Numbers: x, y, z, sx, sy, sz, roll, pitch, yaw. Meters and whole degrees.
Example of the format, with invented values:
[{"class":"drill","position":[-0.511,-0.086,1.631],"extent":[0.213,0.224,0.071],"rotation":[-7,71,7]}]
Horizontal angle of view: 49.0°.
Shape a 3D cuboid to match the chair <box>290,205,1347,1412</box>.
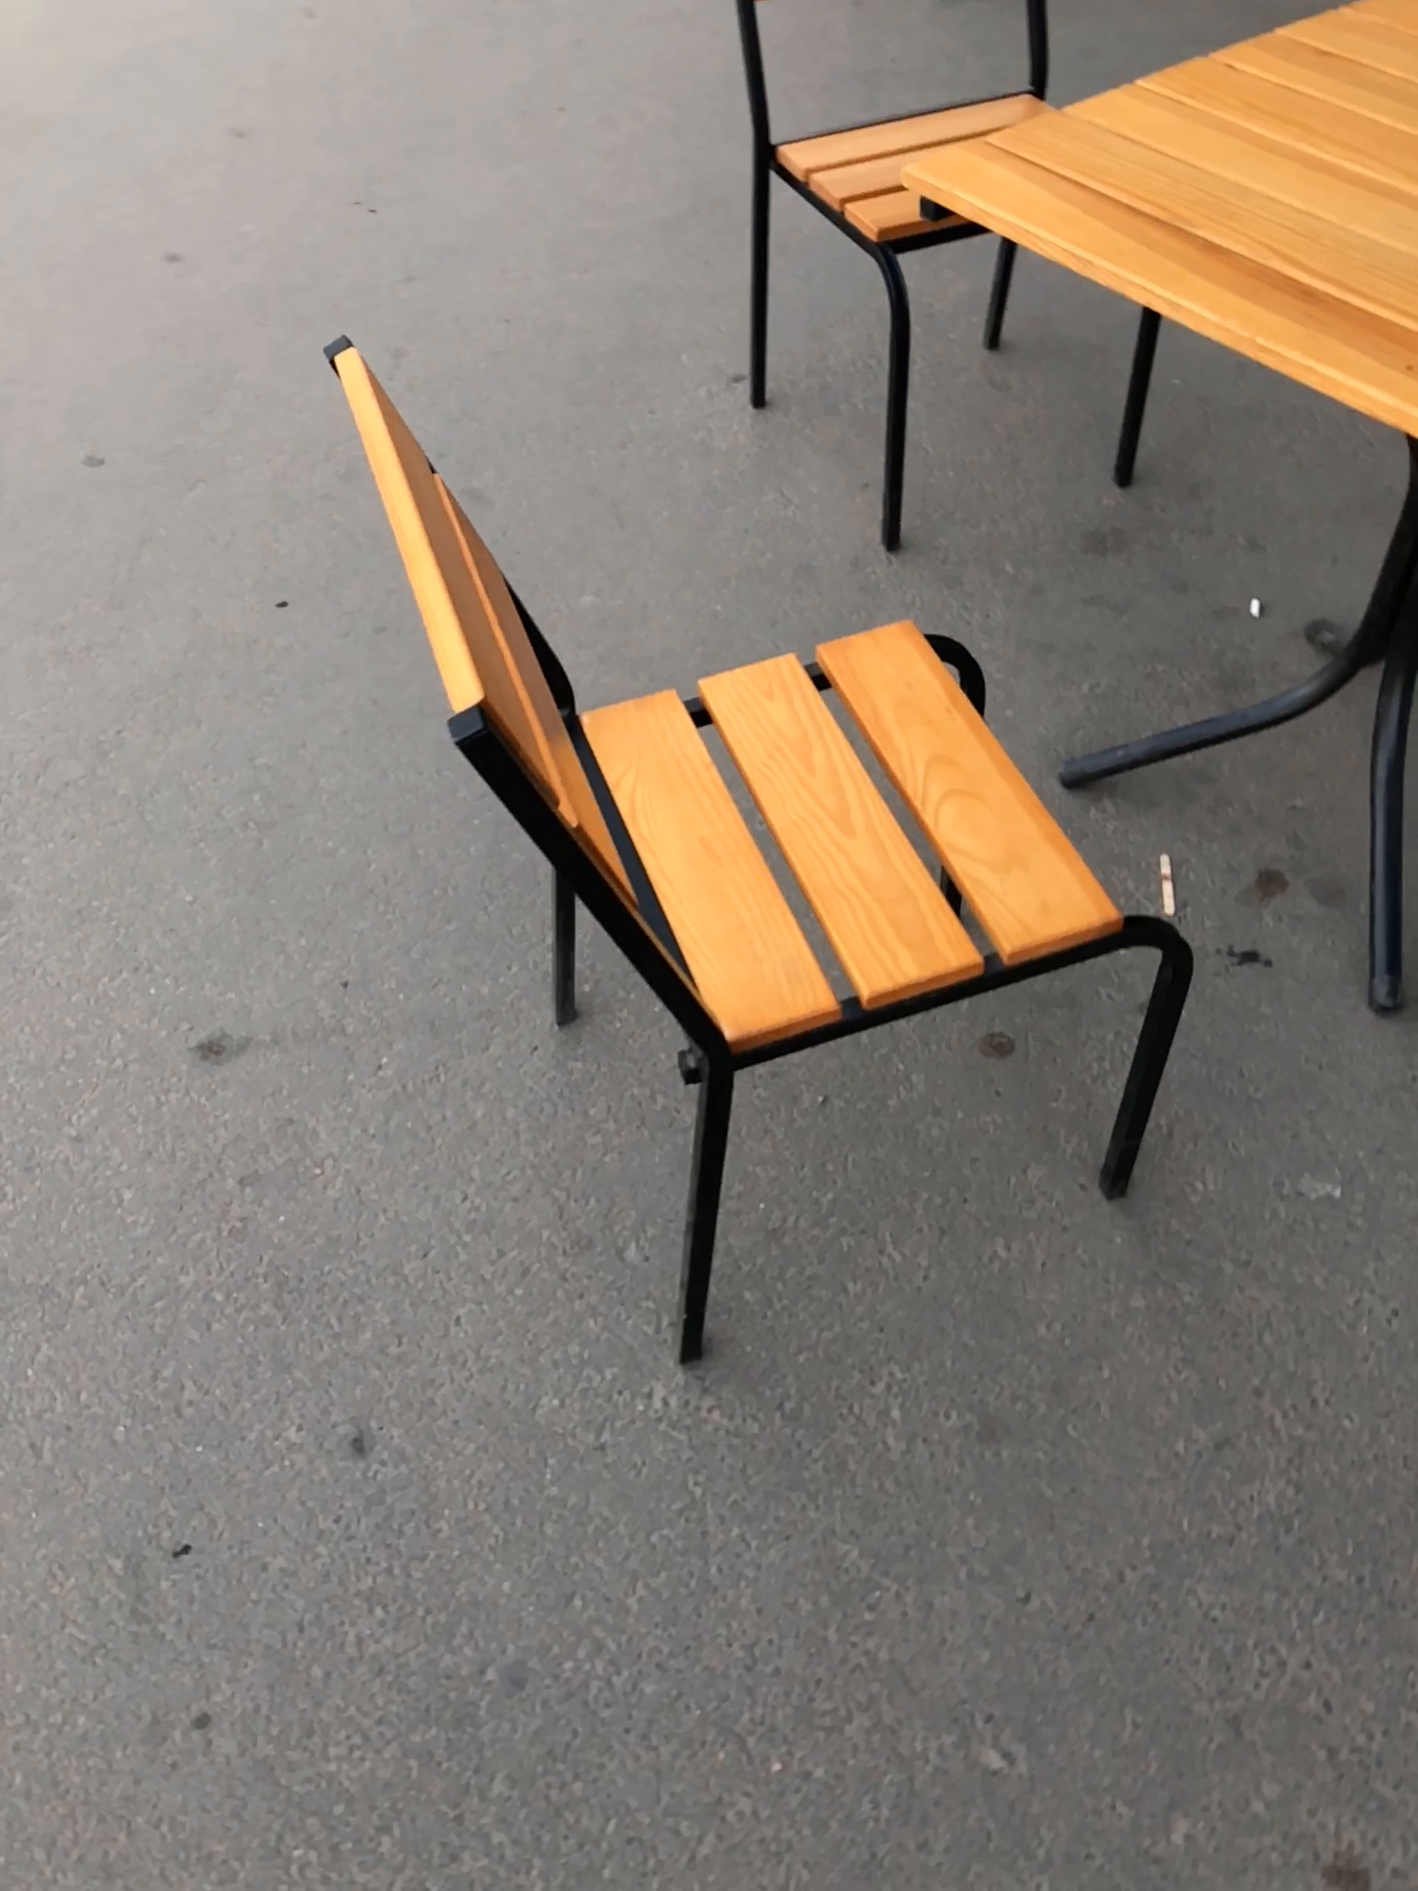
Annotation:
[{"class":"chair","position":[0.054,-0.089,1.321],"extent":[0.560,0.767,0.502],"rotation":[-16,49,-10]}]
